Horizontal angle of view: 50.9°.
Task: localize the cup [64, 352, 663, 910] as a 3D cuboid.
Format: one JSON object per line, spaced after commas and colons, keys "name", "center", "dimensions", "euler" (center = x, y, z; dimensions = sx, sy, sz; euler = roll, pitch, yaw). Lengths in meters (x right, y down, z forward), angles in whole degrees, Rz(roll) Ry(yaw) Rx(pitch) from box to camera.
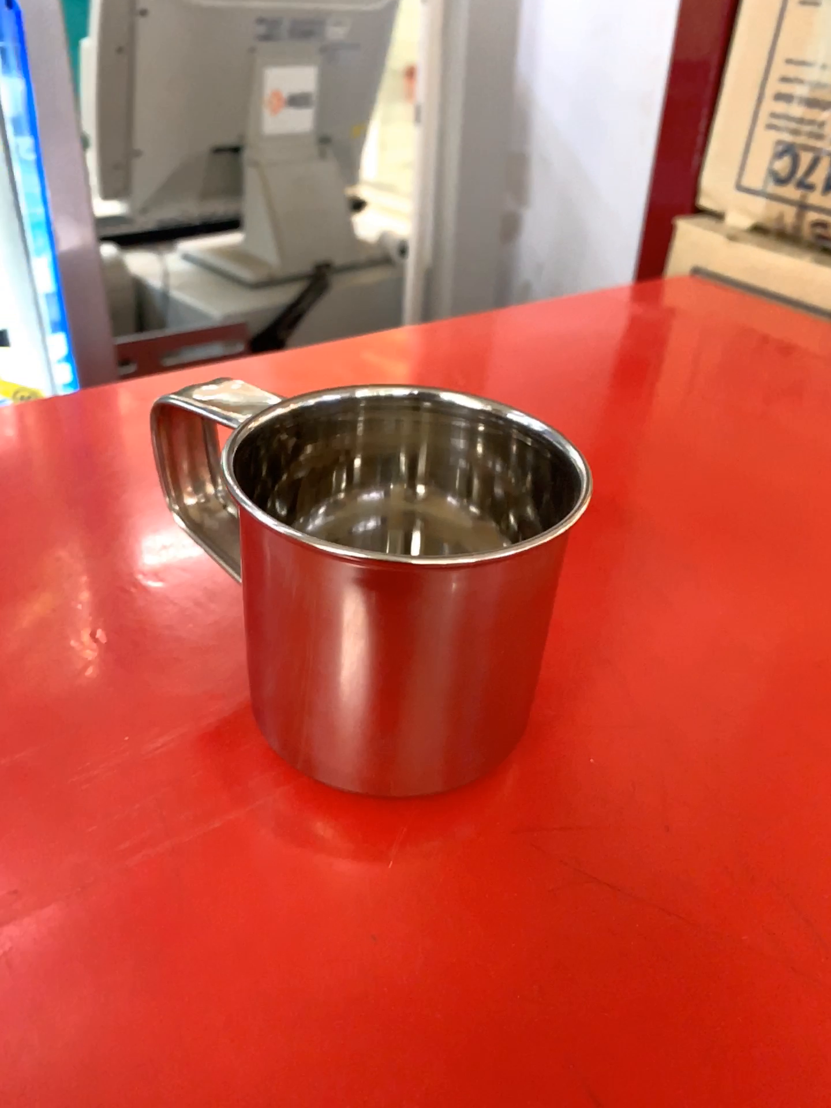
{"name": "cup", "center": [-0.014, 0.008, 0.217], "dimensions": [0.110, 0.069, 0.080], "euler": [25, 39, 30]}
